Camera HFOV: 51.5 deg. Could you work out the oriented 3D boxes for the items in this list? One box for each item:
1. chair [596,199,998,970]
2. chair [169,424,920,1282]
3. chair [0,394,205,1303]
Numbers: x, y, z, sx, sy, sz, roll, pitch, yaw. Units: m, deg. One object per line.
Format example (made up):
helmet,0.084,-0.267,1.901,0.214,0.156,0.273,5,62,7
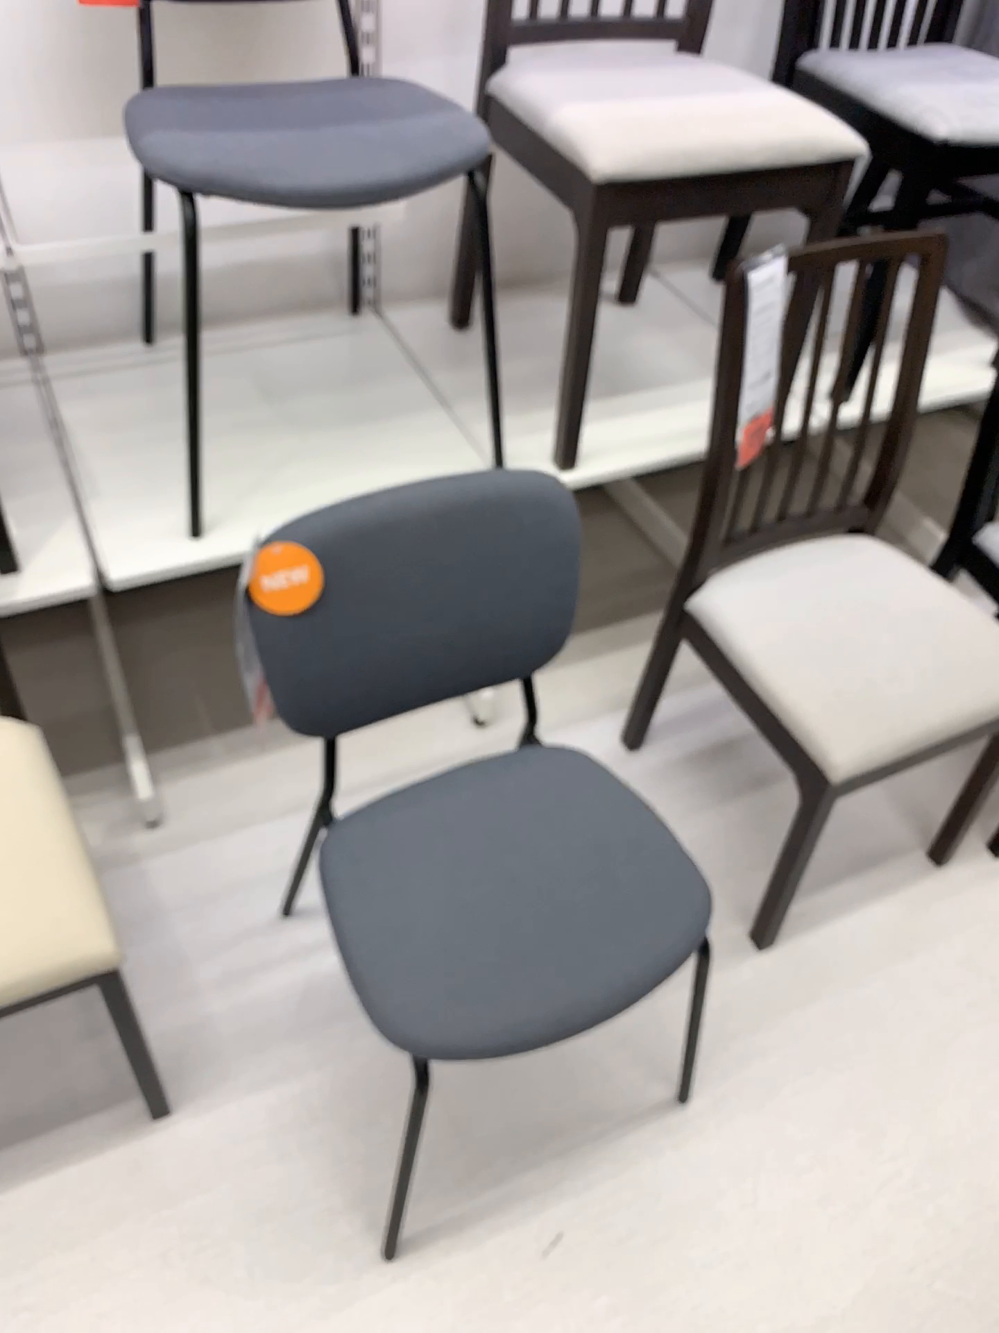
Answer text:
chair,0.551,-0.091,1.541,0.480,0.927,0.531,-18,50,-22
chair,-0.015,0.230,1.288,0.520,0.758,0.591,-18,50,-22
chair,-0.695,0.225,1.177,0.480,0.807,0.531,-17,50,-21
